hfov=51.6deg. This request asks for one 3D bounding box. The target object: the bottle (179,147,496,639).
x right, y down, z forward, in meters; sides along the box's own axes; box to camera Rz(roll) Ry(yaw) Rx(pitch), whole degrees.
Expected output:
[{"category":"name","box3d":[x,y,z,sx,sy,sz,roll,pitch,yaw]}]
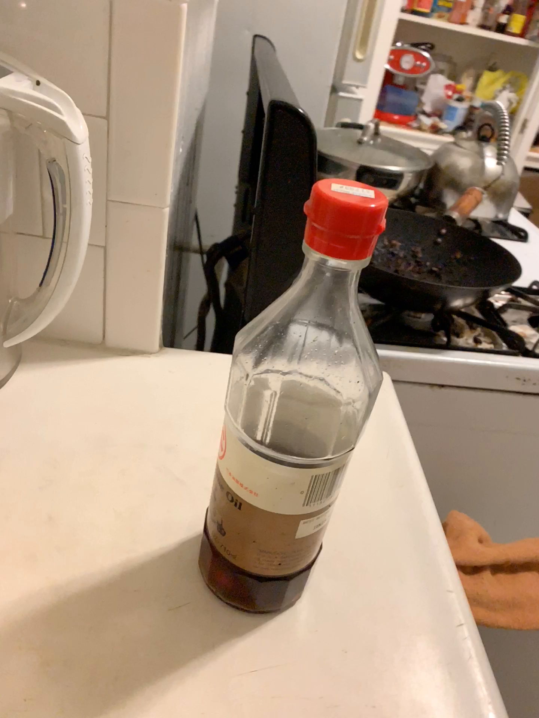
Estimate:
[{"category":"bottle","box3d":[0.010,0.035,0.304,0.090,0.258,0.091,8,34,-6]}]
